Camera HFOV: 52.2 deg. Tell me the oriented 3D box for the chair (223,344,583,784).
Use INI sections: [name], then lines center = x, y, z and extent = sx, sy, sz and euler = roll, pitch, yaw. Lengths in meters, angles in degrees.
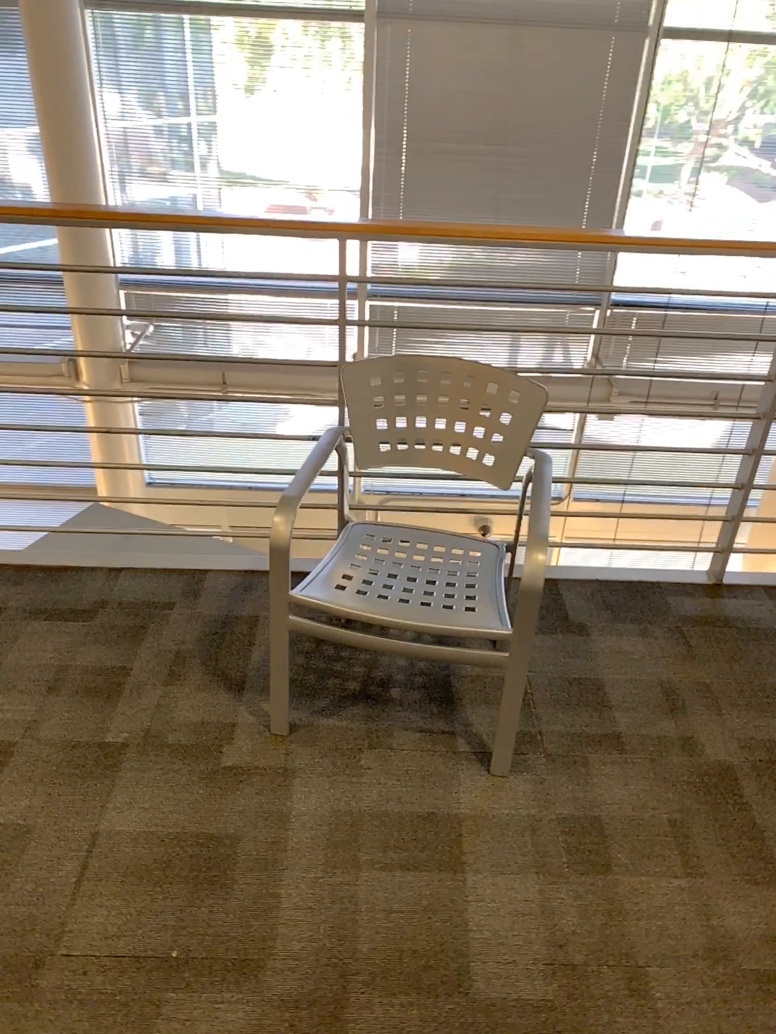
[chair]
center = 0.049, 0.082, 1.965
extent = 0.680, 0.756, 0.684
euler = 7, 32, 5
